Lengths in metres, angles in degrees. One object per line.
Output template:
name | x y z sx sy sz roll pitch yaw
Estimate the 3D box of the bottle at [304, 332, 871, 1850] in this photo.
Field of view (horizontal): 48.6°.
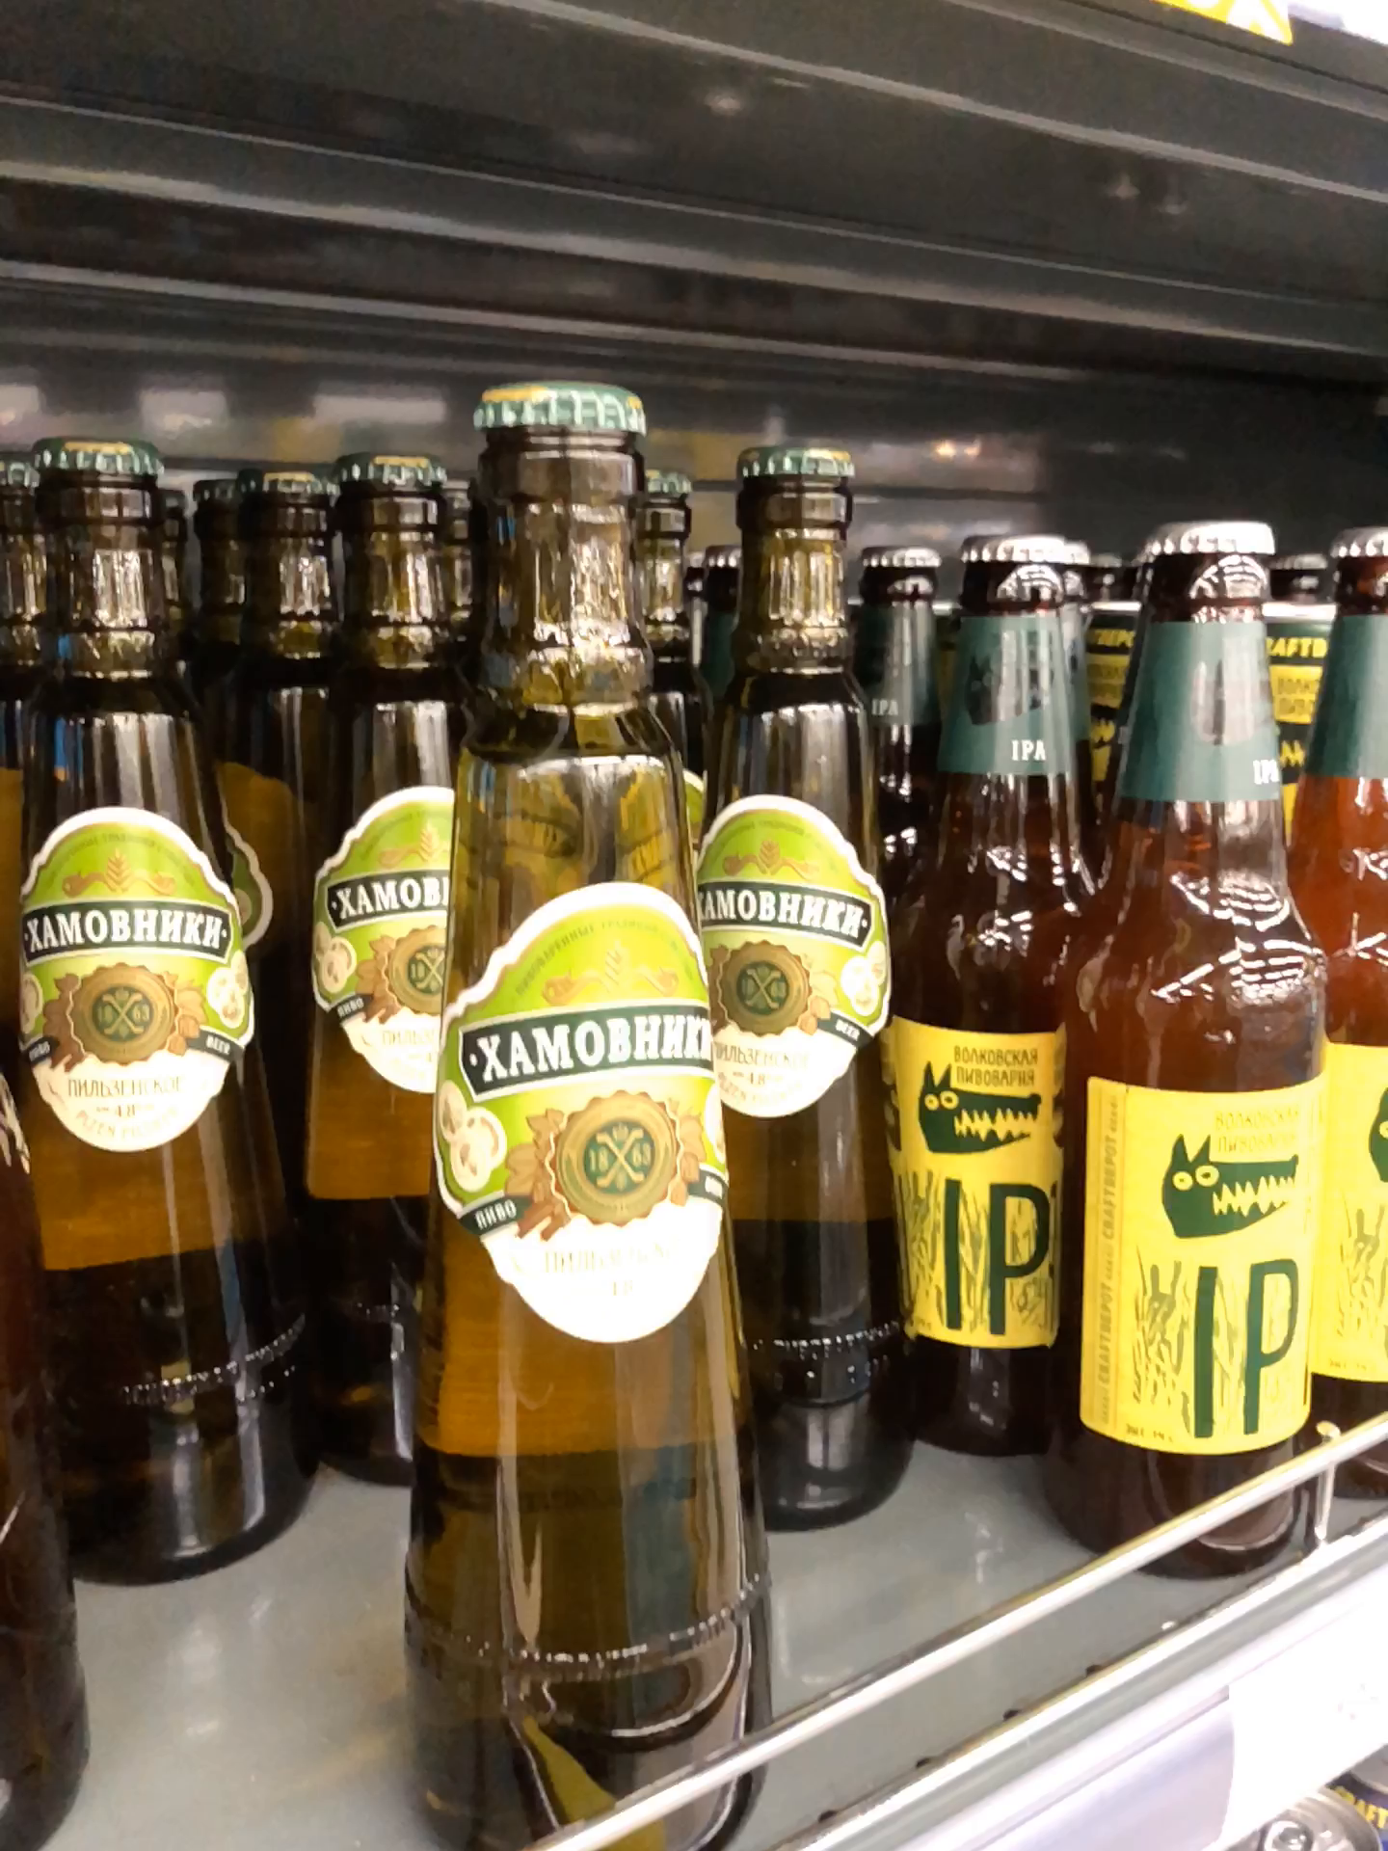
bottle | -0.020 0.041 0.271 0.070 0.261 0.070 0 12 0
